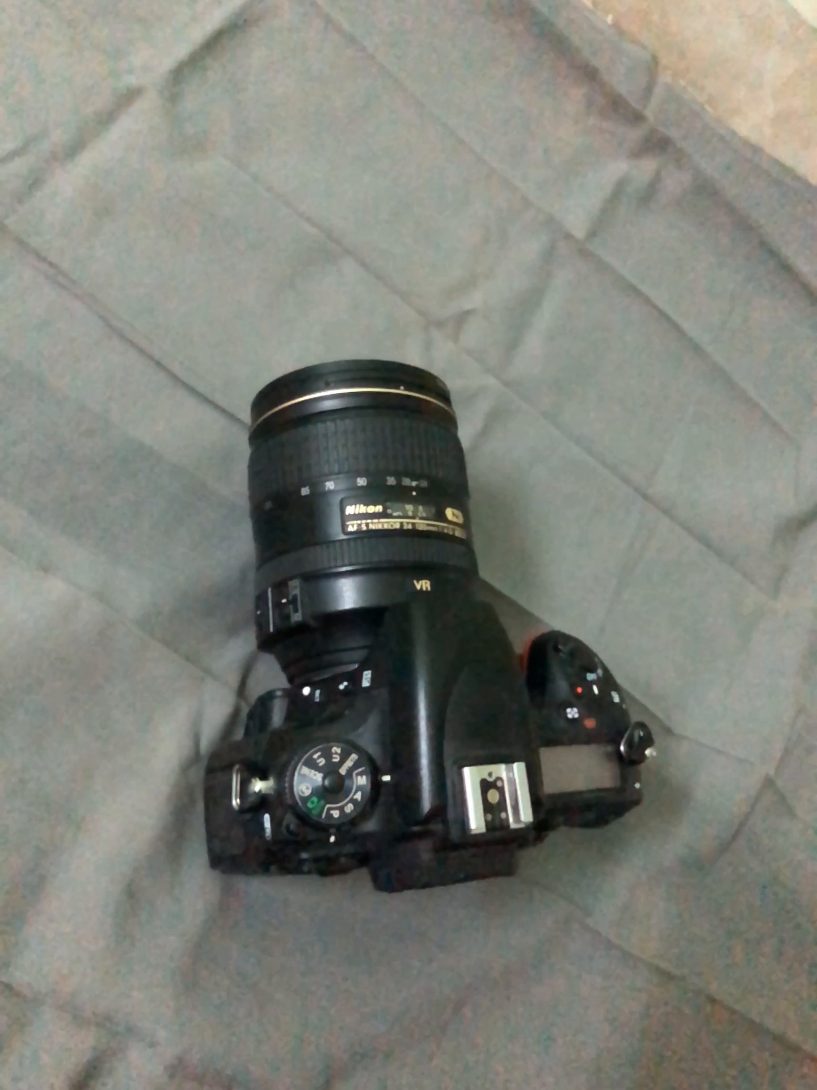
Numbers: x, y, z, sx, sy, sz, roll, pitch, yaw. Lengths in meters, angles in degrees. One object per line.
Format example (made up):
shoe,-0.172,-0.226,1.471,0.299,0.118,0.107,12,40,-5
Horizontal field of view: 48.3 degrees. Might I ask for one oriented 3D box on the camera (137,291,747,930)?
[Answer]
camera,-0.003,0.030,0.319,0.146,0.134,0.164,1,72,-29
